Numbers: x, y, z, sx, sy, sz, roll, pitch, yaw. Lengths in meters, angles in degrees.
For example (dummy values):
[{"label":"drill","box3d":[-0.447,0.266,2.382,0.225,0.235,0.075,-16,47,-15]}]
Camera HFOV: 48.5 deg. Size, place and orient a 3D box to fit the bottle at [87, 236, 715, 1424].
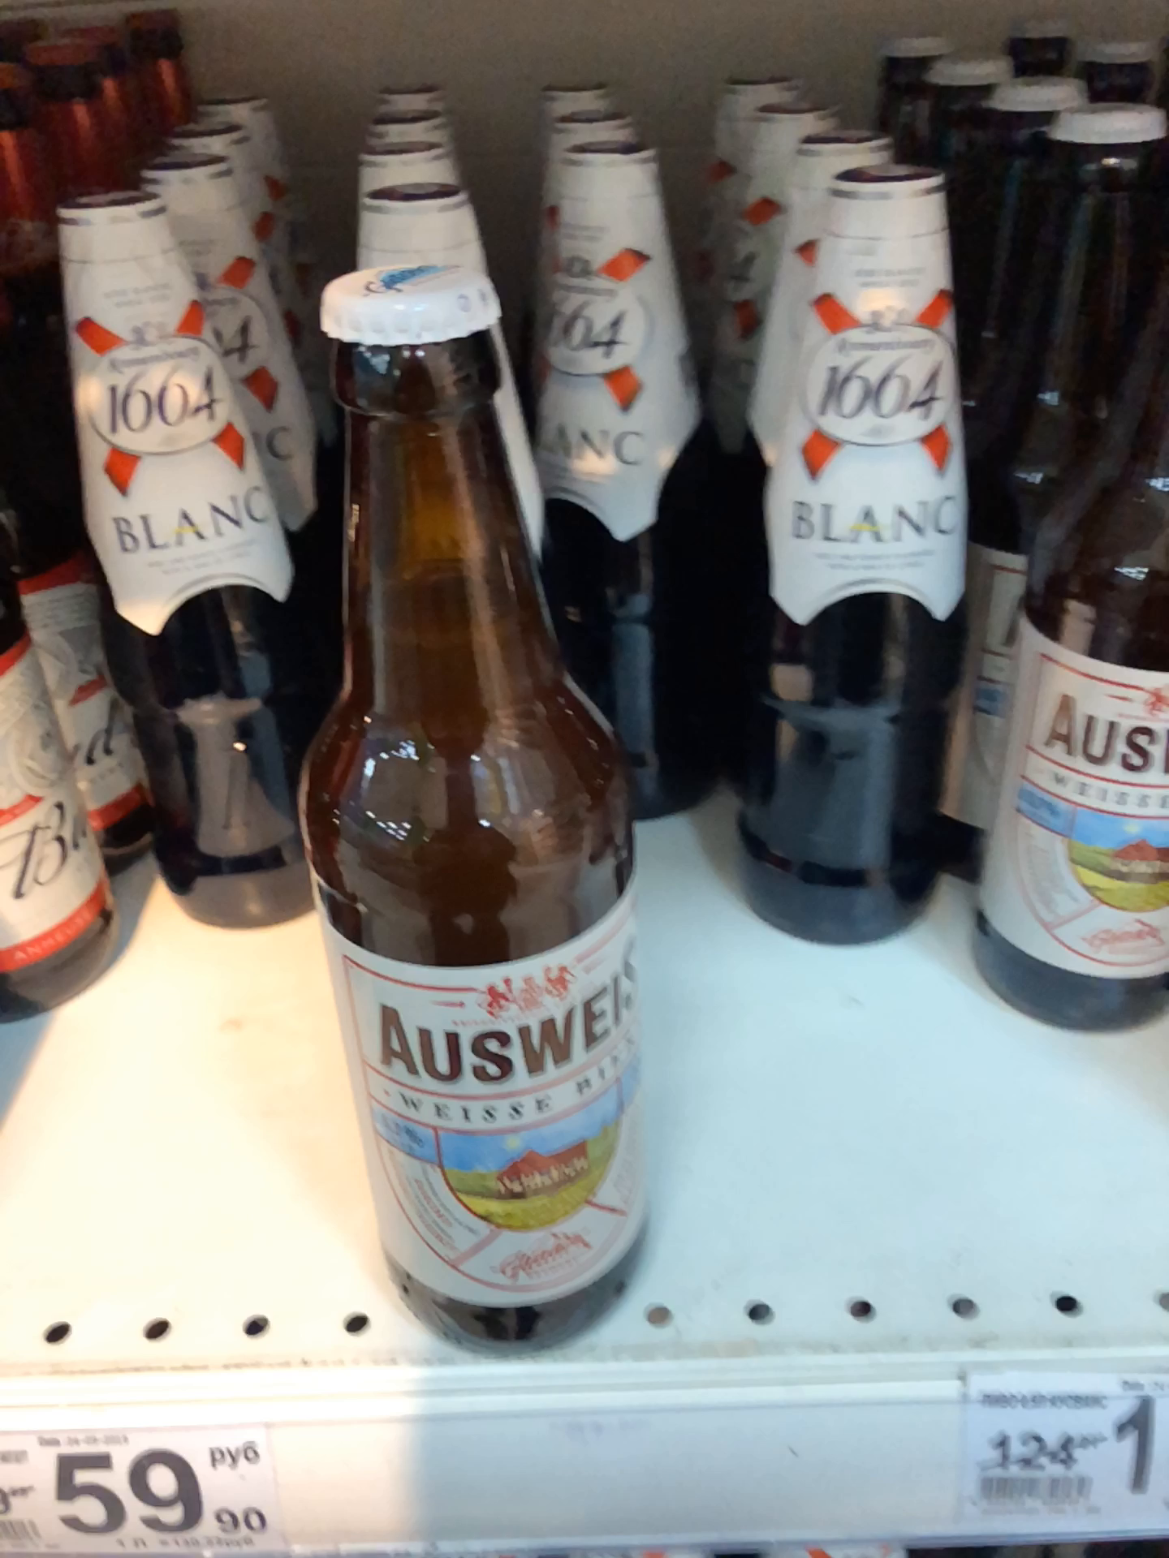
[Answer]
[{"label":"bottle","box3d":[-0.026,0.021,0.267,0.080,0.229,0.070,-17,36,-19]}]
